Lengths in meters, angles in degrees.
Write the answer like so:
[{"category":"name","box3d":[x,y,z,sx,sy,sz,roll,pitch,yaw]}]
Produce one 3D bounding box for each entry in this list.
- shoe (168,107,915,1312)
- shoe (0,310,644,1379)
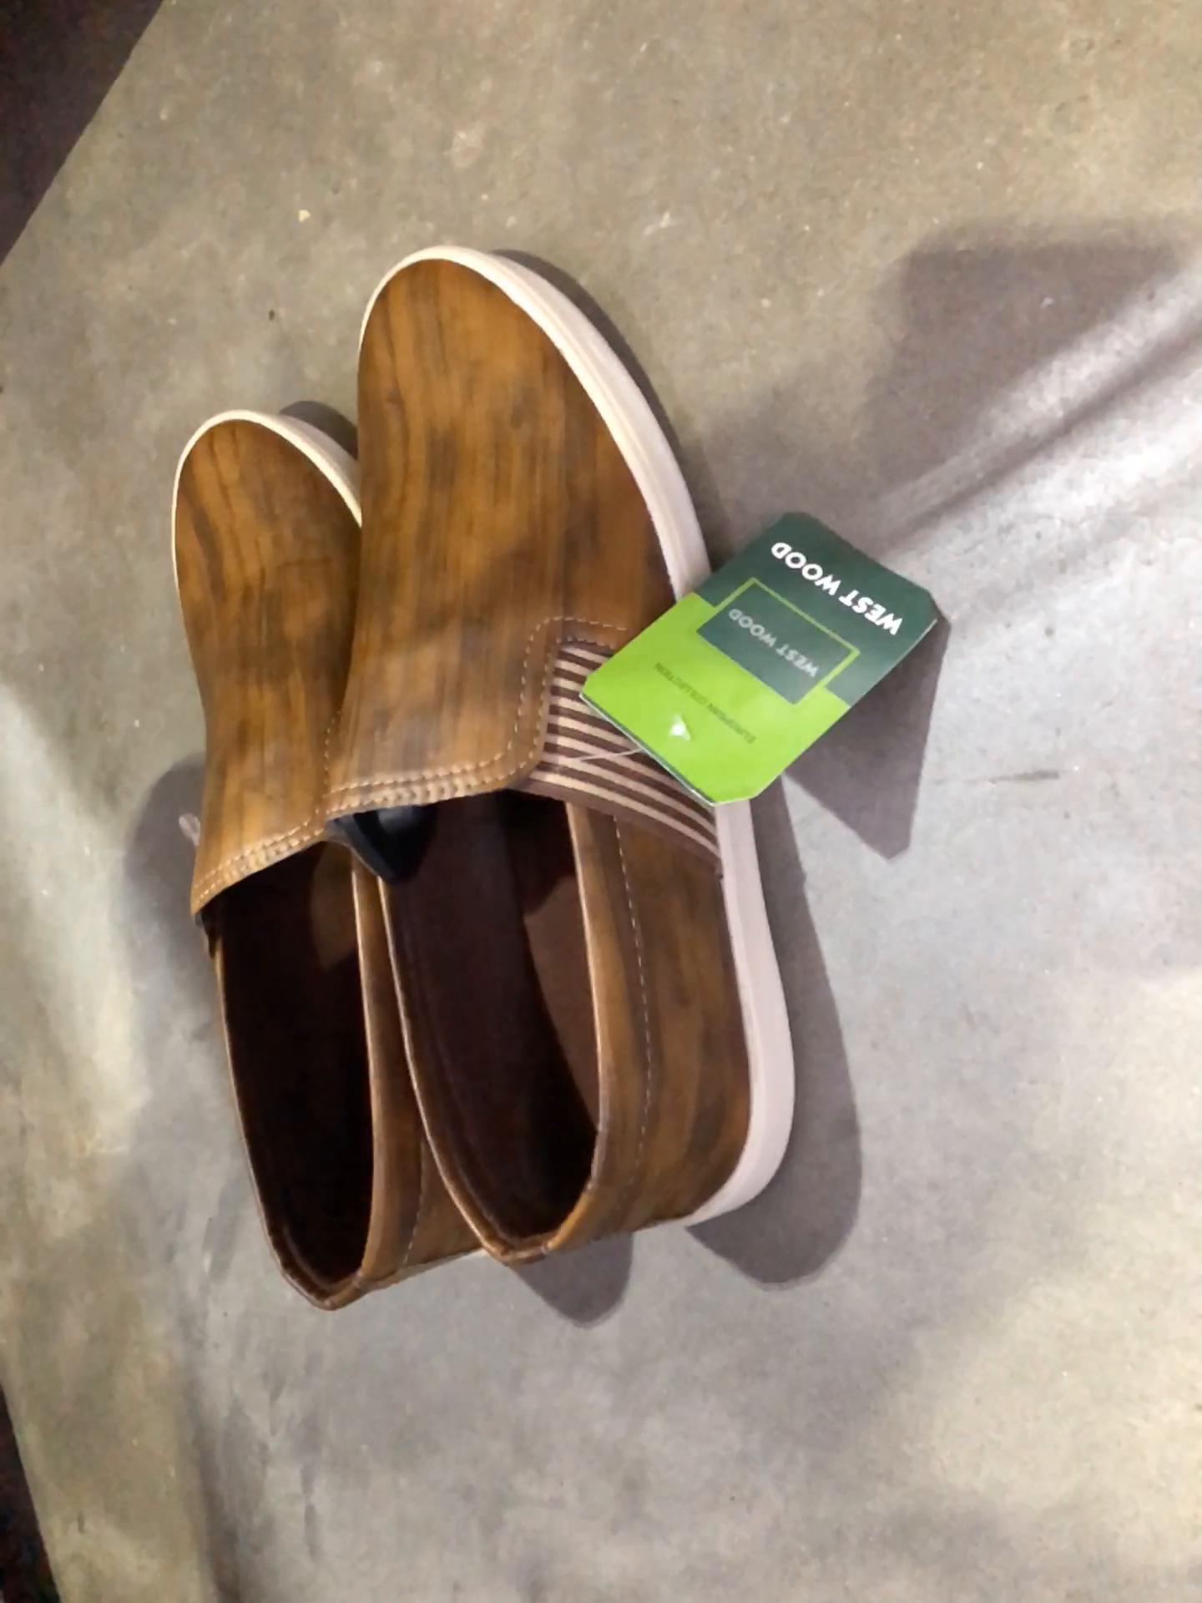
[{"category":"shoe","box3d":[-0.022,-0.021,0.382,0.110,0.100,0.290,-22,78,36]},{"category":"shoe","box3d":[-0.100,0.010,0.420,0.100,0.100,0.290,-28,75,35]}]
